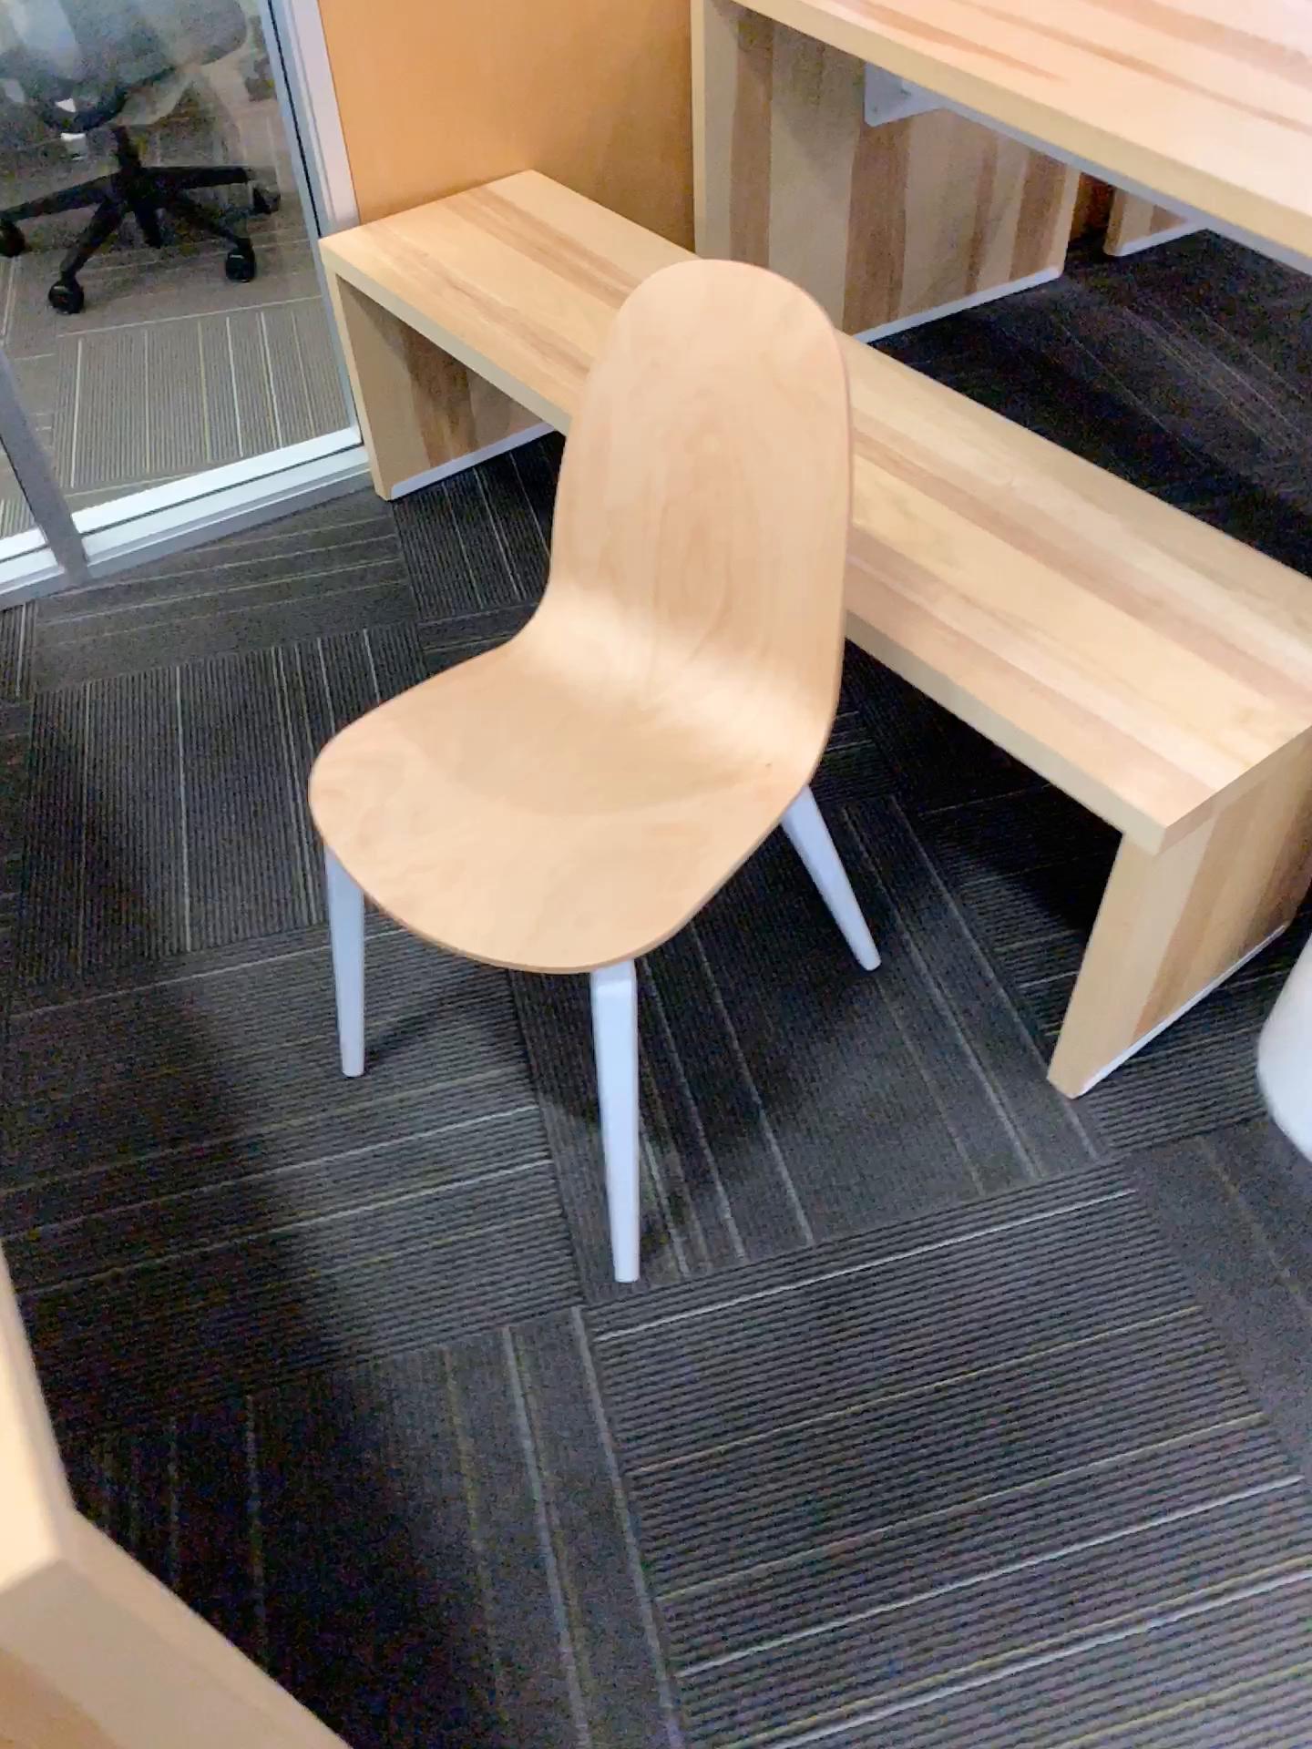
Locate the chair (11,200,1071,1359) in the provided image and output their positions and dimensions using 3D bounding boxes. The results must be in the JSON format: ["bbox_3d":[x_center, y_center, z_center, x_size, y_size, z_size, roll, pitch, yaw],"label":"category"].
[{"bbox_3d":[-0.045,-0.092,1.302,0.521,0.766,0.652,26,54,24],"label":"chair"}]
